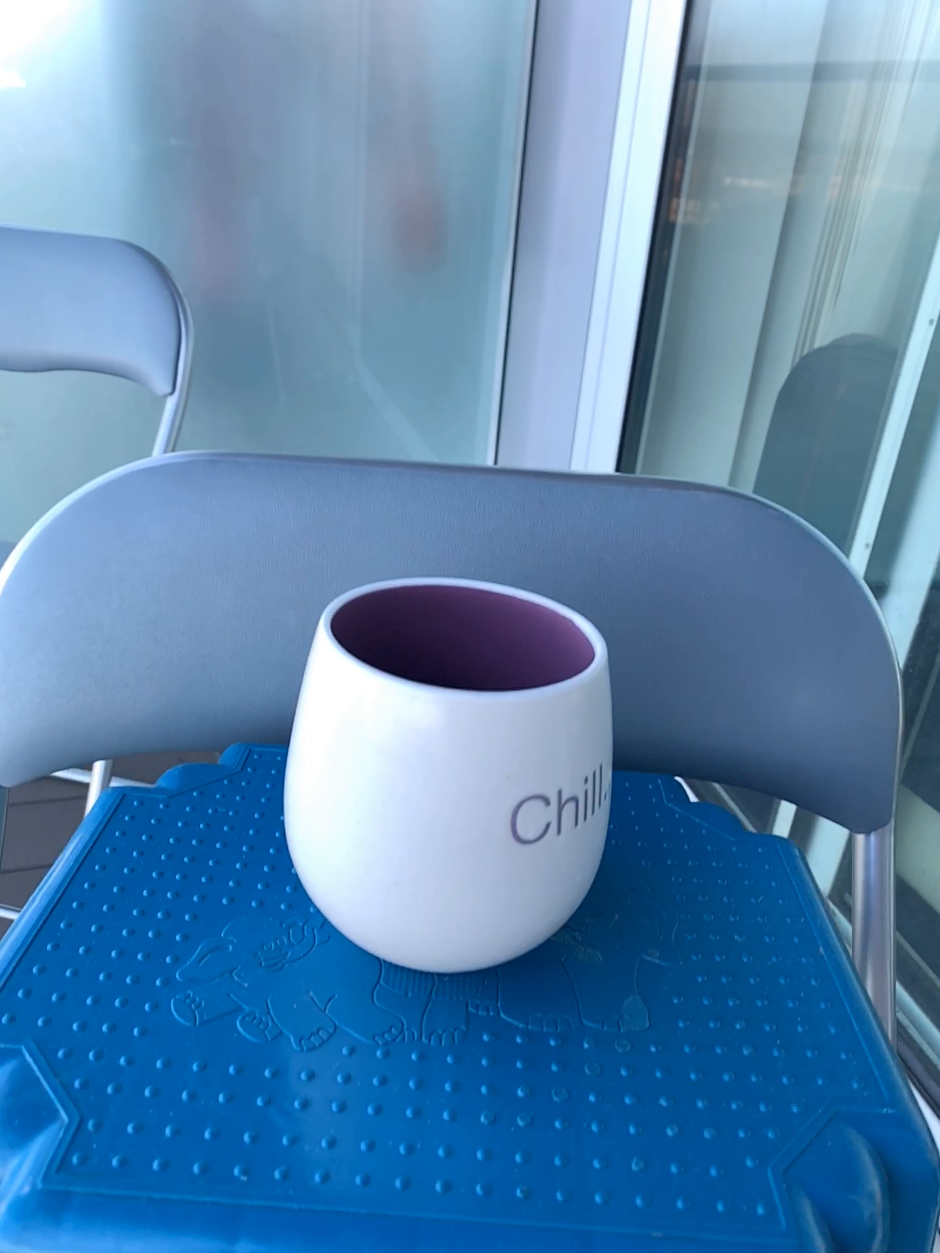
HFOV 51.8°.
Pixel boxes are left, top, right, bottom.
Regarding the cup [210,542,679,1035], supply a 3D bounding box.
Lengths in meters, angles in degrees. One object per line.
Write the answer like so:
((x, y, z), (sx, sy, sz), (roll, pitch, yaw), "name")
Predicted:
((-0.007, 0.041, 0.321), (0.105, 0.090, 0.111), (5, 24, -2), "cup")
